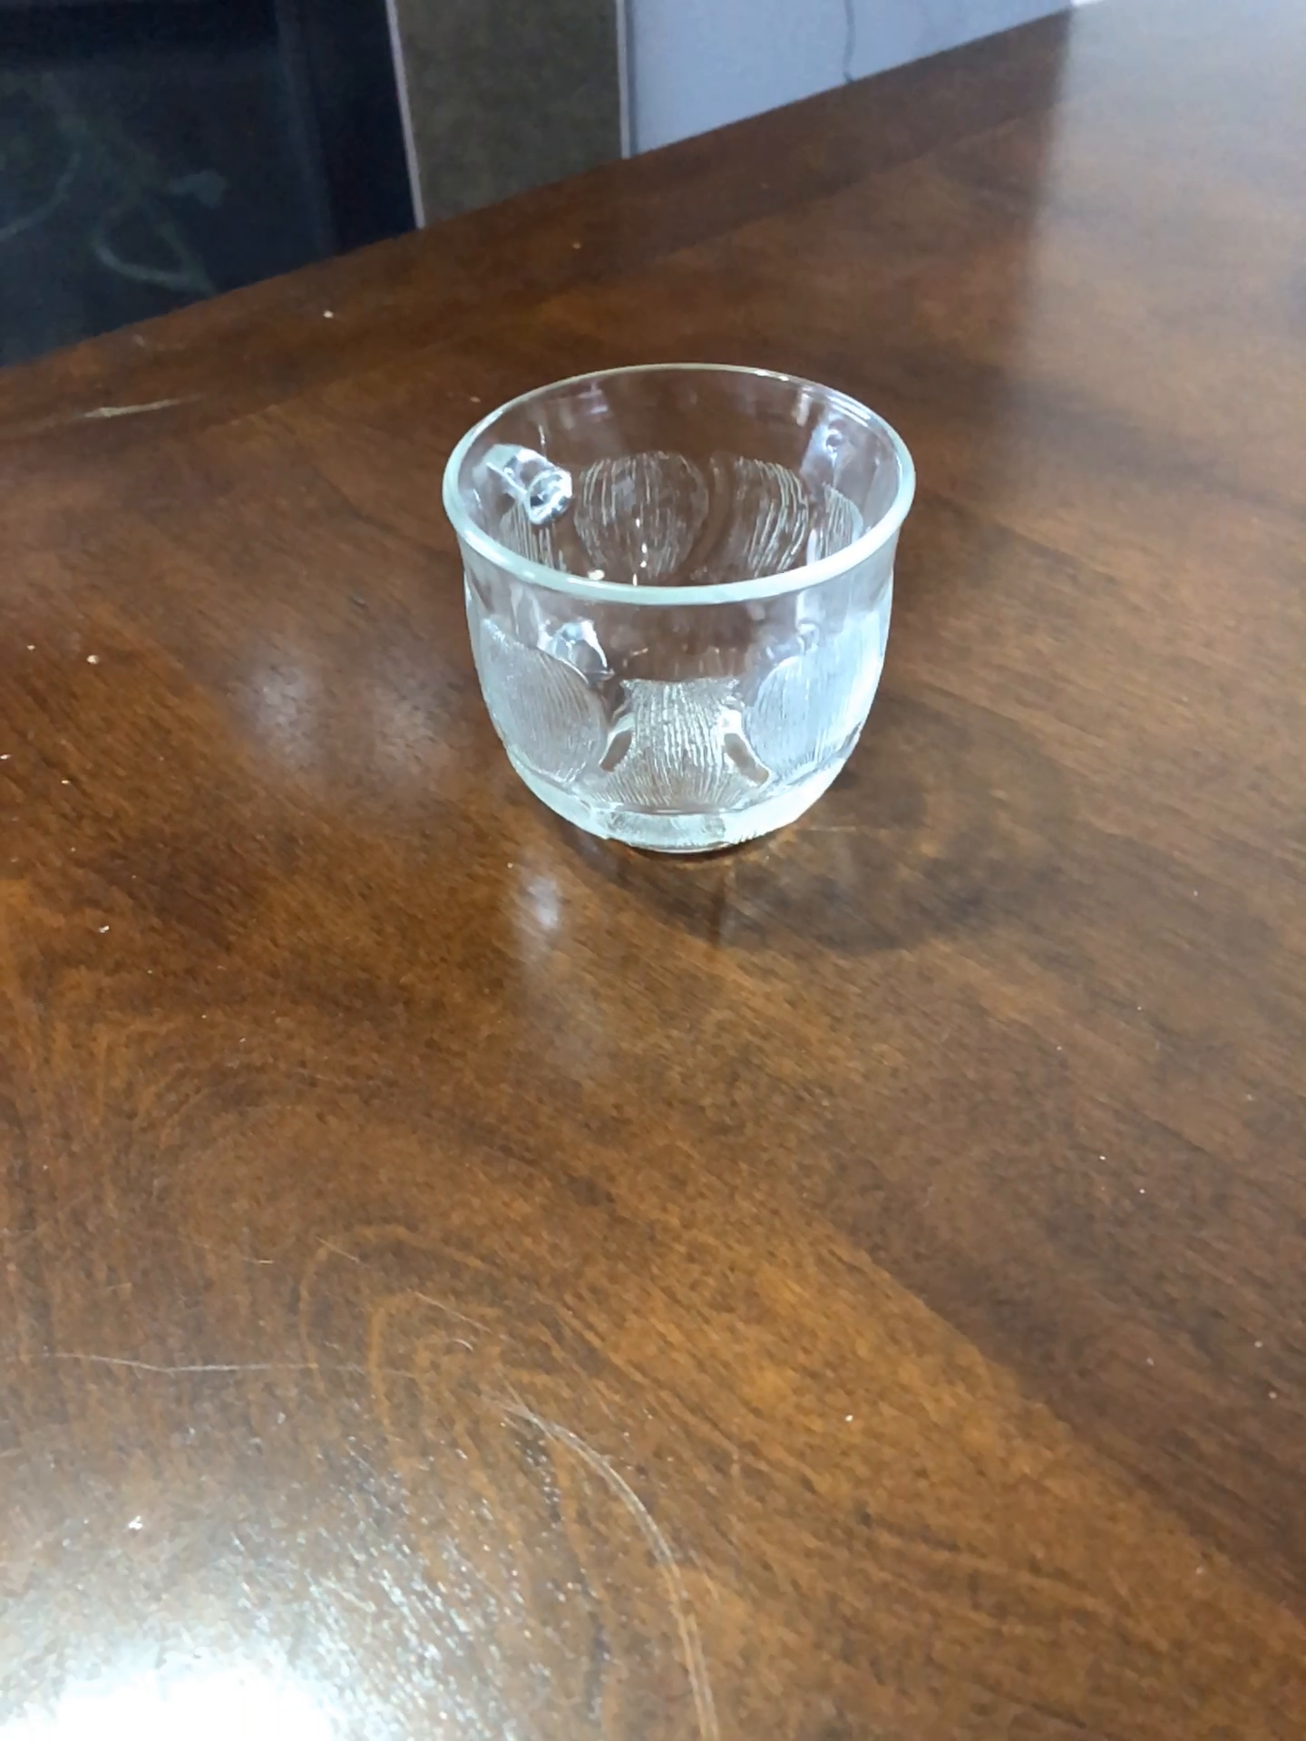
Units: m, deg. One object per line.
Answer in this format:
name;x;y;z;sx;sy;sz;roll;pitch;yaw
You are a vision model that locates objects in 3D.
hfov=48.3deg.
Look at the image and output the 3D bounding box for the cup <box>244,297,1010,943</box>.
cup;-0.006;-0.051;0.257;0.080;0.050;0.100;-32;51;-28
